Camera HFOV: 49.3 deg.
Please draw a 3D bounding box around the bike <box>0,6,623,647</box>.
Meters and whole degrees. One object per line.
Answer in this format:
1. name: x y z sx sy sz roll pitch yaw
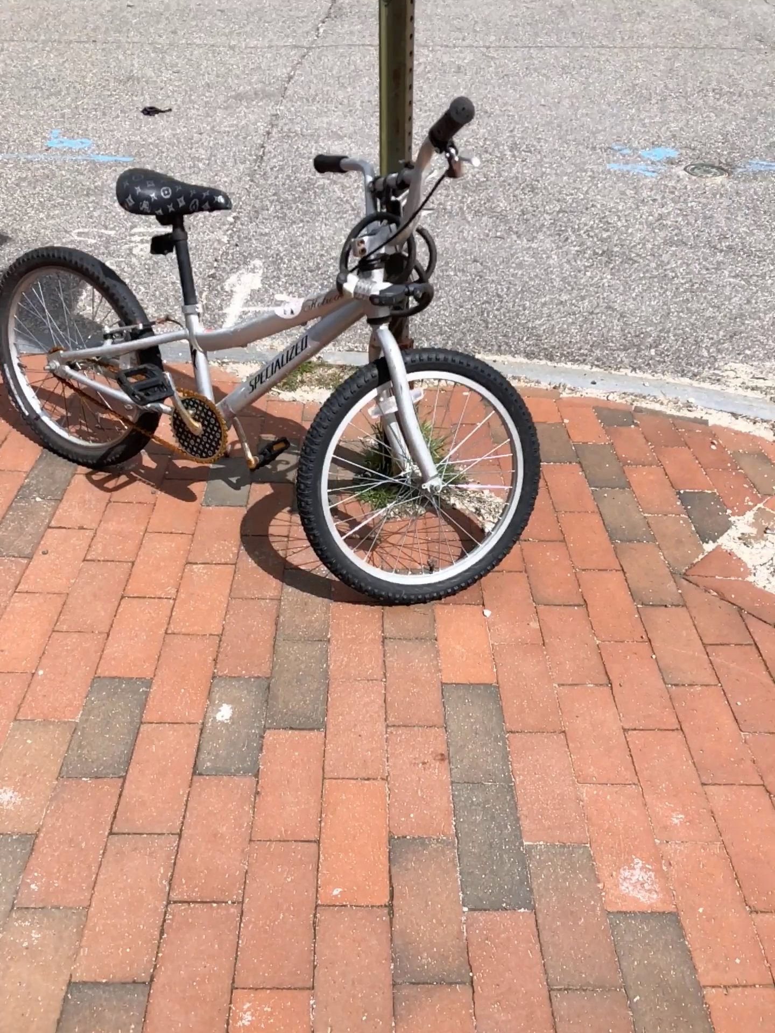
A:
1. bike: -0.300 -0.439 1.638 1.208 0.831 0.720 14 37 15
